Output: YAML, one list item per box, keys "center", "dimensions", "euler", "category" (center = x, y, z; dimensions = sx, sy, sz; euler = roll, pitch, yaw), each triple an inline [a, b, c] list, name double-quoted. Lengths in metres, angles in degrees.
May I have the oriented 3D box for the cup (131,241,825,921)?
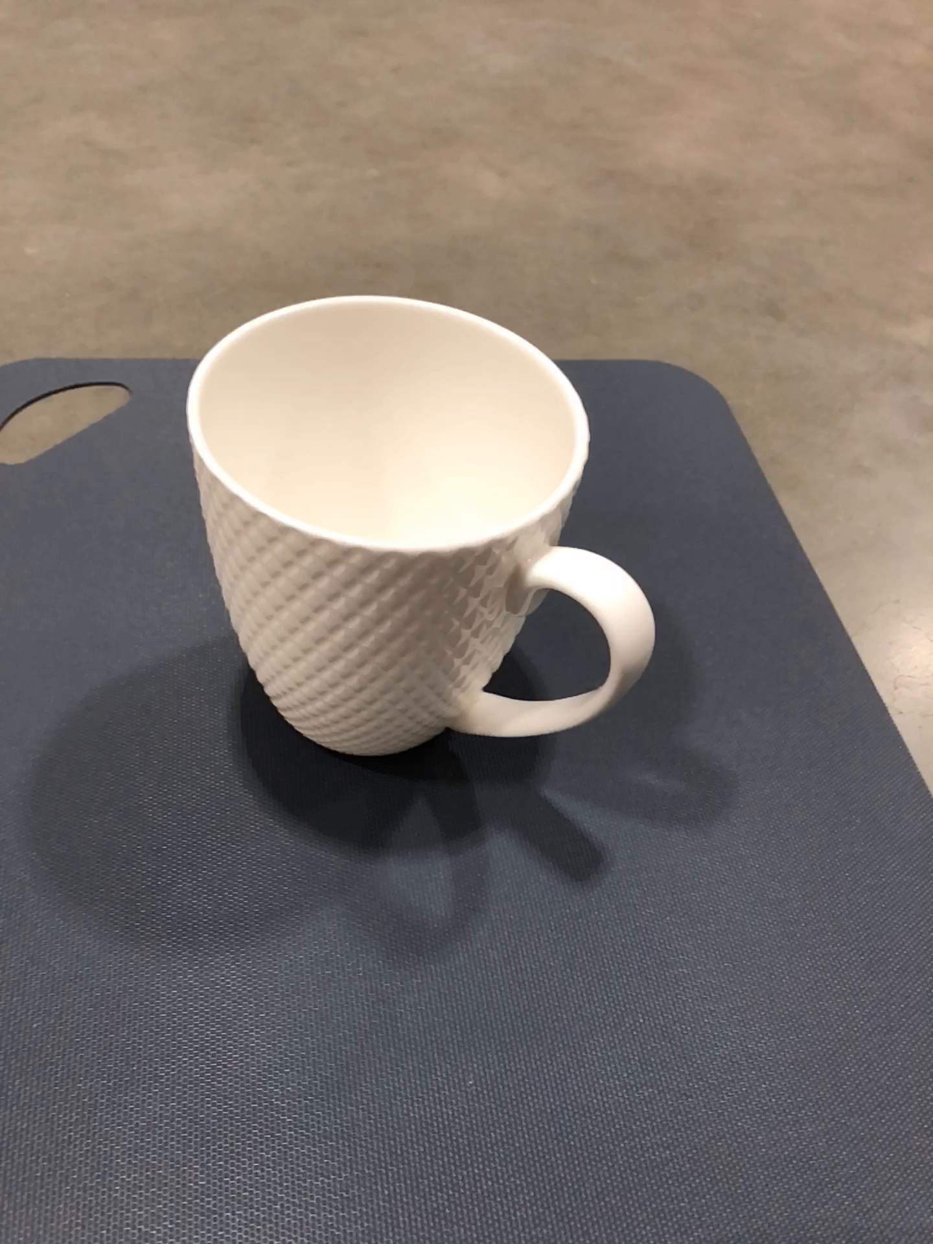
- center: [-0.002, -0.016, 0.269]
  dimensions: [0.130, 0.090, 0.090]
  euler: [35, 52, 21]
  category: "cup"
